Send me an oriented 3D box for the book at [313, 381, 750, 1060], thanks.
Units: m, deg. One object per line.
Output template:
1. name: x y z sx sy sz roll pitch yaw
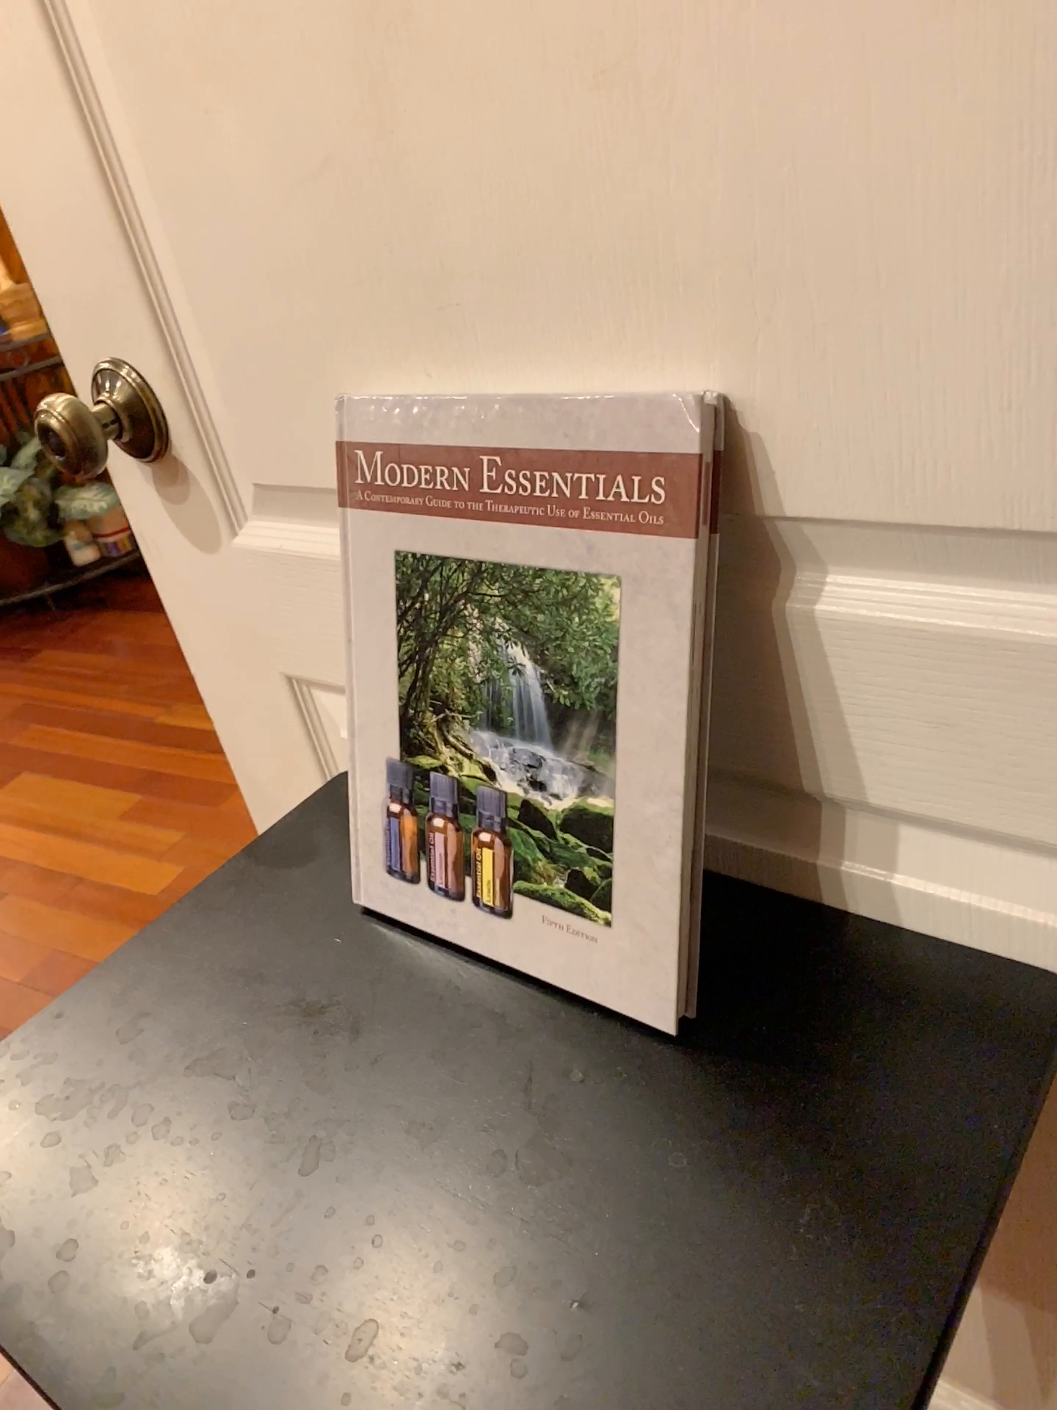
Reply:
1. book: -0.010 -0.005 0.527 0.231 0.289 0.030 12 19 38
